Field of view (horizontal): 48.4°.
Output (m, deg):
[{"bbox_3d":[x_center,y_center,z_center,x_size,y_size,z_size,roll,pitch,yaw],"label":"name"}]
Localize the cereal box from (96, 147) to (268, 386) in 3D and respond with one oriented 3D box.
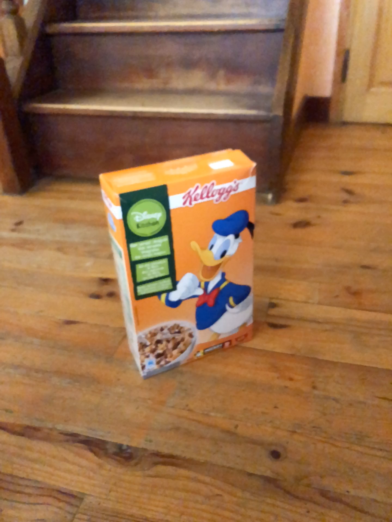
[{"bbox_3d":[-0.012,0.010,0.631,0.200,0.298,0.090,-15,33,-20],"label":"cereal box"}]
